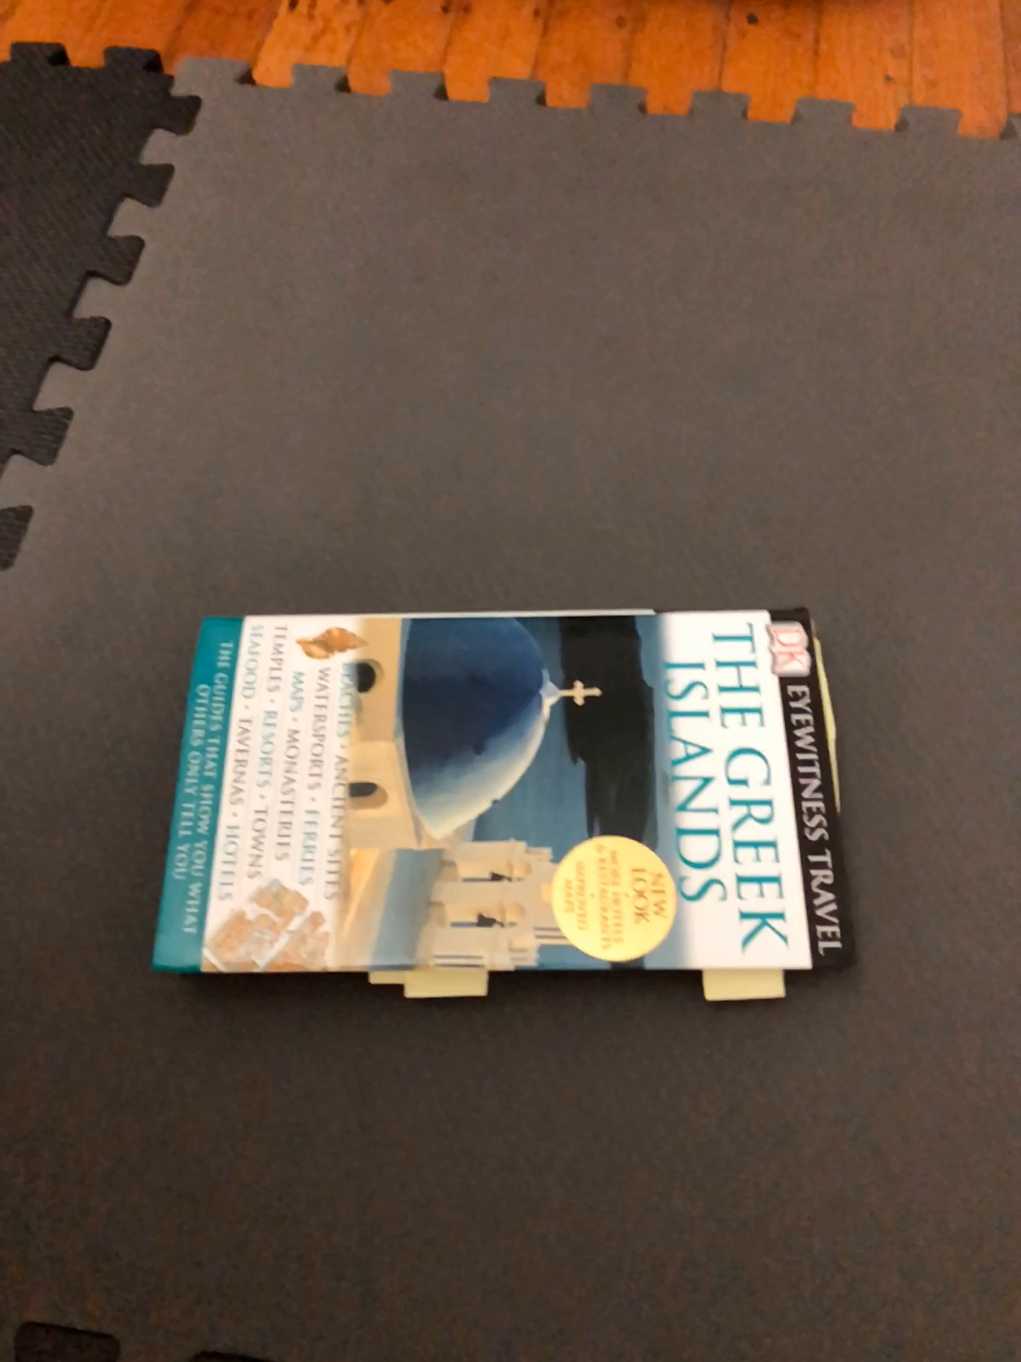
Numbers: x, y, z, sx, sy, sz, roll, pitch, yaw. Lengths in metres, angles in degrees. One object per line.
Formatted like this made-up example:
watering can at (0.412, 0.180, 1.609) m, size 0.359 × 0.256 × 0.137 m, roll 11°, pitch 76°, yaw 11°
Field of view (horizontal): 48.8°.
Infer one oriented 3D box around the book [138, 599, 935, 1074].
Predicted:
book at (0.008, 0.048, 0.390) m, size 0.240 × 0.030 × 0.161 m, roll 0°, pitch 62°, yaw 1°
